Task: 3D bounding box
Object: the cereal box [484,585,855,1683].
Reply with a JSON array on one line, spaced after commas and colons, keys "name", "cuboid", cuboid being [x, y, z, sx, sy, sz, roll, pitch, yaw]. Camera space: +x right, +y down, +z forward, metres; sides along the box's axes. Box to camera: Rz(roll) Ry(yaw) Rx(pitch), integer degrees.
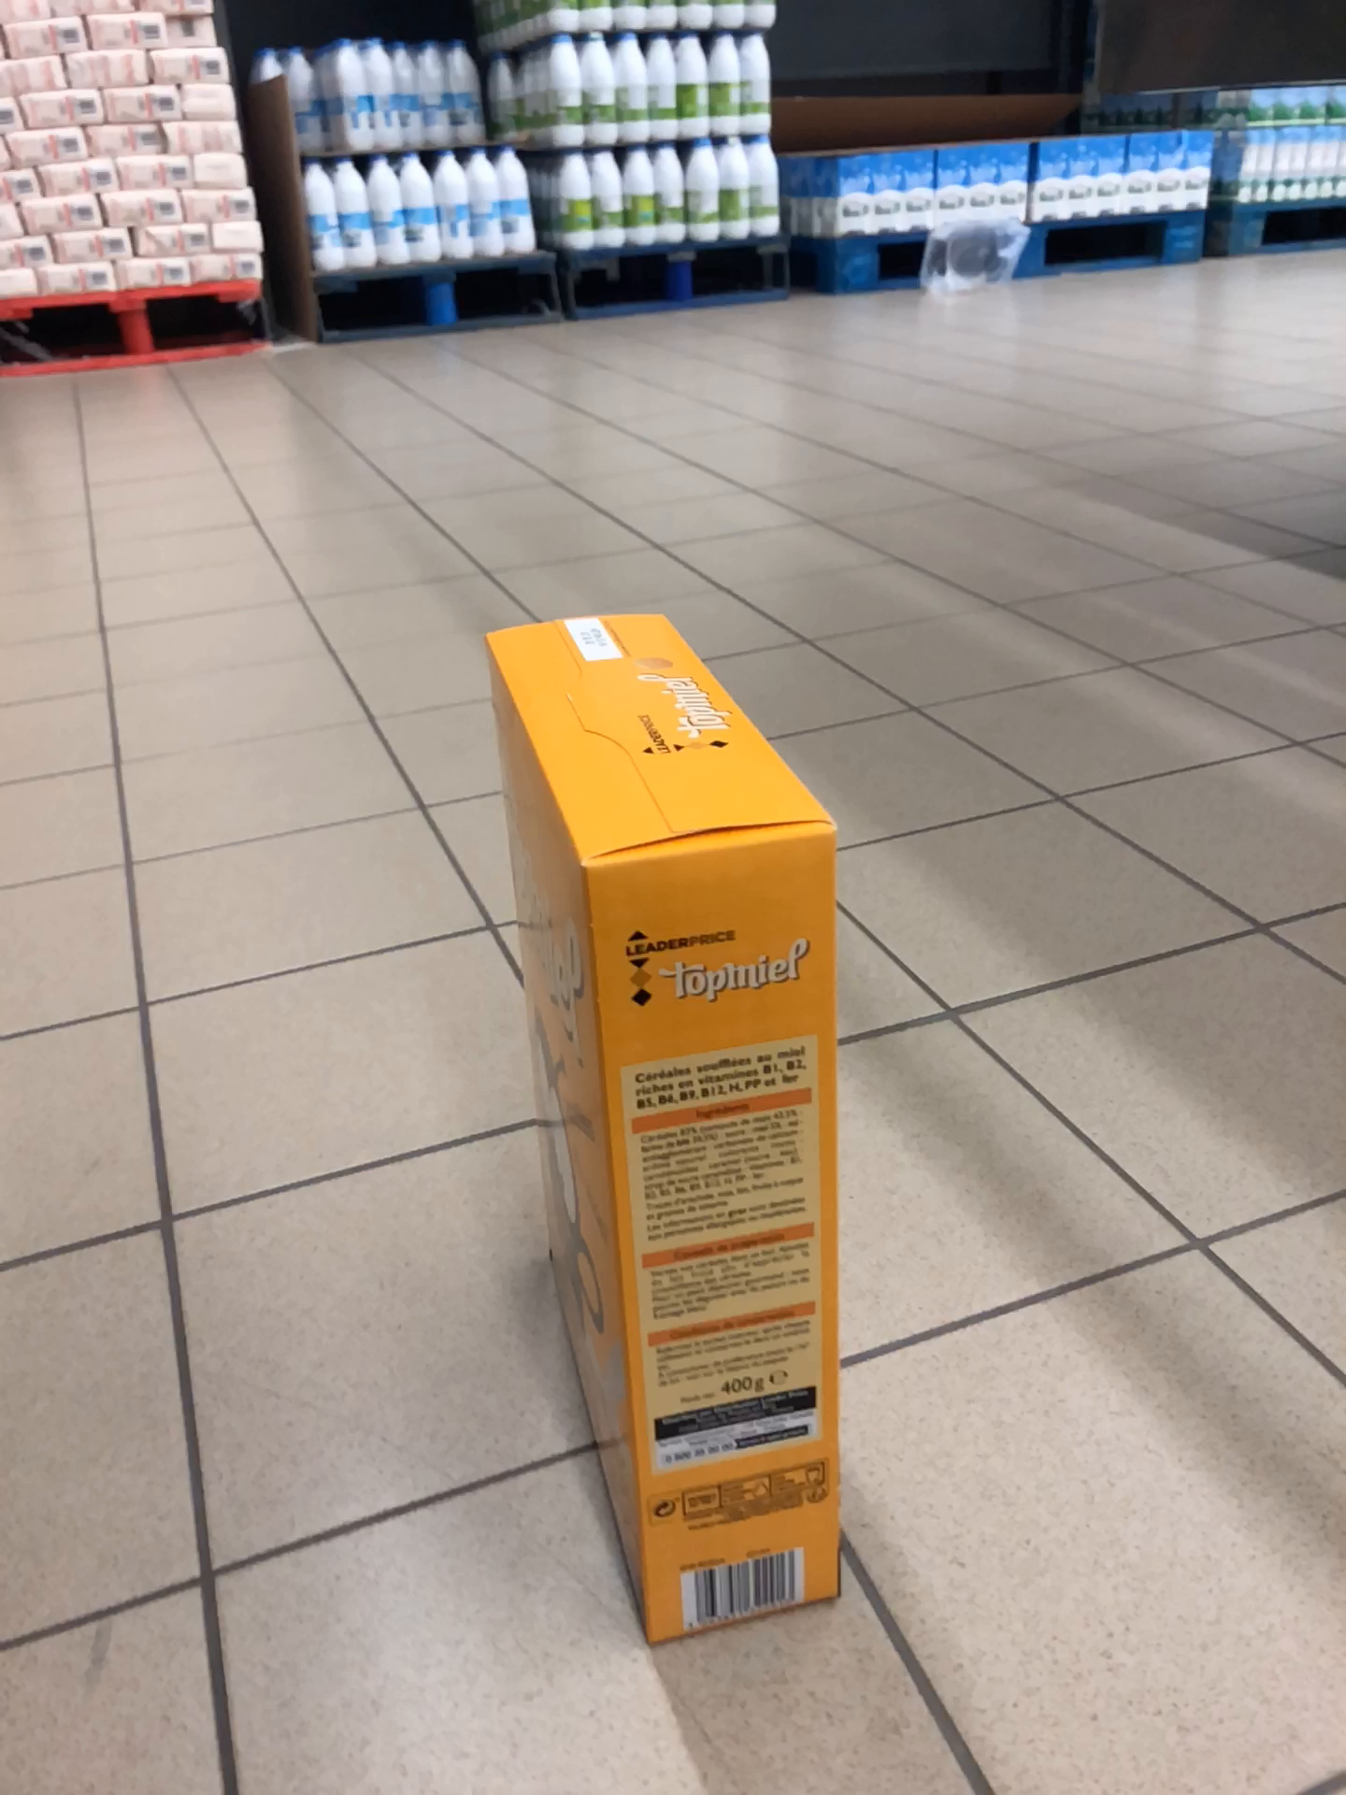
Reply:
[{"name": "cereal box", "cuboid": [-0.006, 0.061, 0.474, 0.060, 0.269, 0.211, -8, 26, -10]}]
